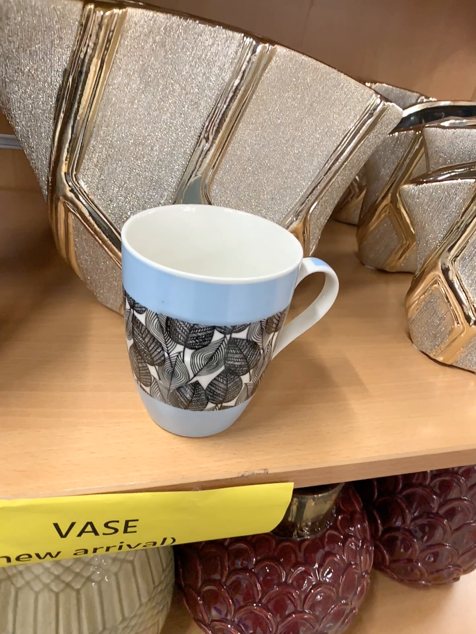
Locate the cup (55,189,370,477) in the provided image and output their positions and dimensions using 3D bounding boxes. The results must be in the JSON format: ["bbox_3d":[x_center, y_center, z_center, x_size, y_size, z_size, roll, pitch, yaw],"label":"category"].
[{"bbox_3d":[-0.017,-0.003,0.231,0.110,0.090,0.080,-10,33,-29],"label":"cup"}]
